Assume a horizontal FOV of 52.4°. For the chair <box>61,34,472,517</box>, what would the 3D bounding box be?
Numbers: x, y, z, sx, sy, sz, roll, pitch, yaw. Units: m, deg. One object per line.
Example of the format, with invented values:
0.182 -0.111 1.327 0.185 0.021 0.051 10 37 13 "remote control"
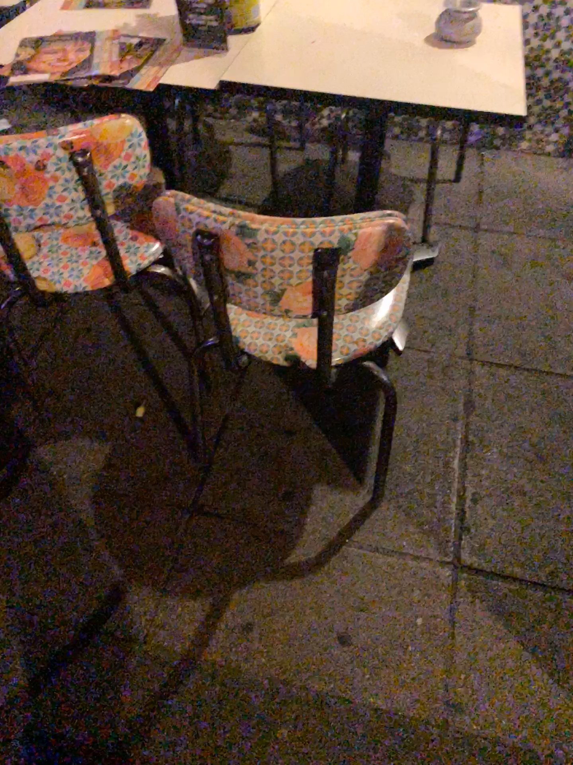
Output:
0.022 -0.191 1.174 0.520 0.694 0.575 9 52 8 "chair"
